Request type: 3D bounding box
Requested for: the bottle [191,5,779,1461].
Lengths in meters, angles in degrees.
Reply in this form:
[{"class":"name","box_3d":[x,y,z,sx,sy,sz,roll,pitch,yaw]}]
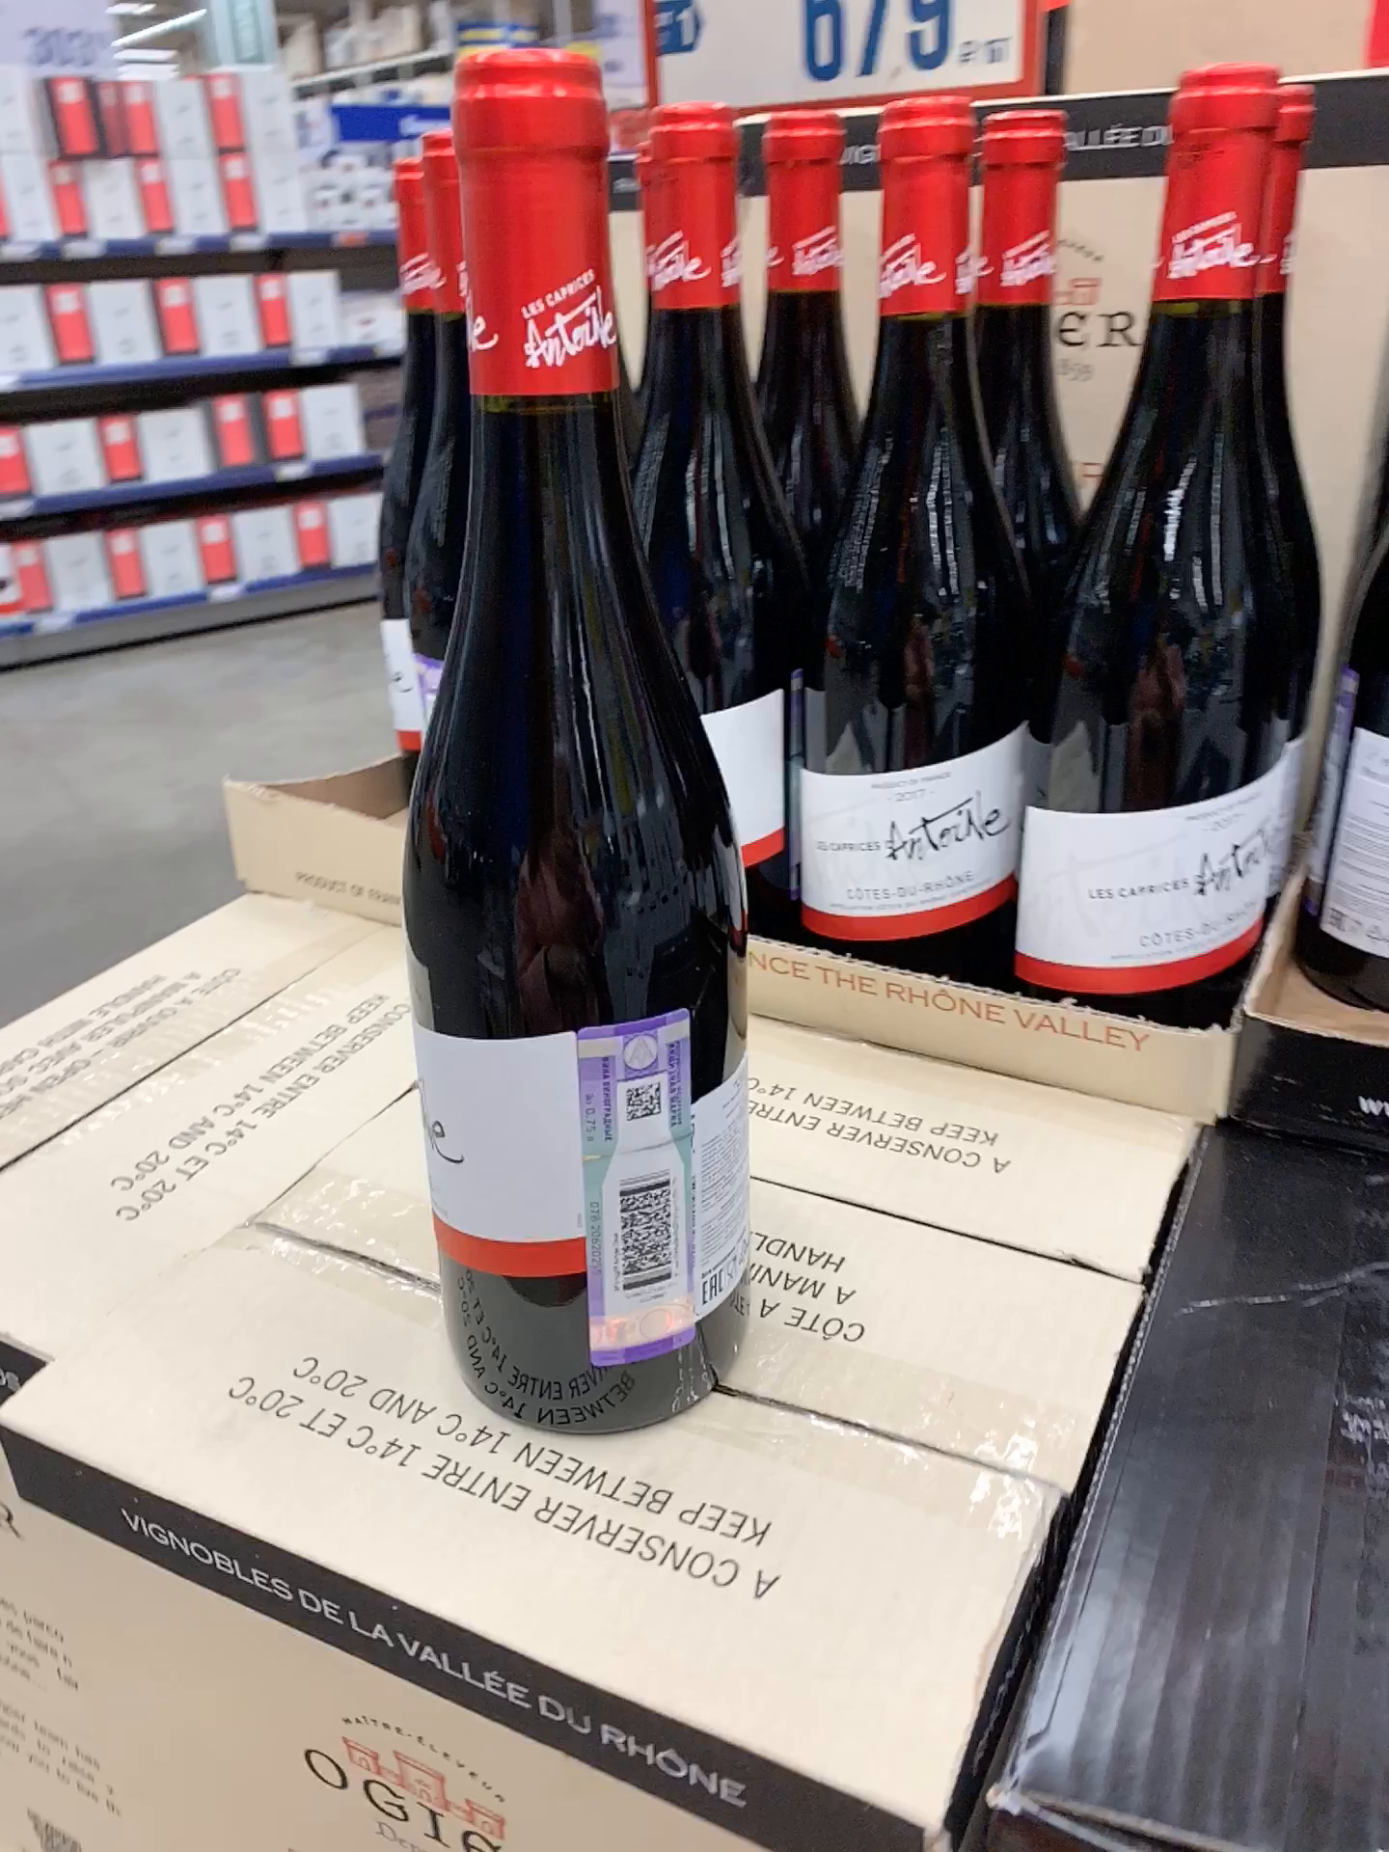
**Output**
[{"class":"bottle","box_3d":[-0.034,-0.028,0.328,0.090,0.298,0.090,-1,26,1]}]
